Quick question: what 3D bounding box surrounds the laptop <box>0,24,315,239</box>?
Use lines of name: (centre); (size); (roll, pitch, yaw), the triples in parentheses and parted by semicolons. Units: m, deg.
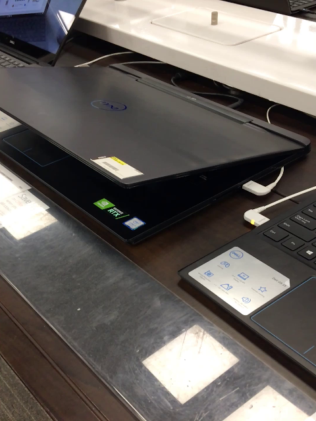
laptop: (-0.069, -0.145, 0.590); (0.281, 0.085, 0.408); (-34, 51, -26)
